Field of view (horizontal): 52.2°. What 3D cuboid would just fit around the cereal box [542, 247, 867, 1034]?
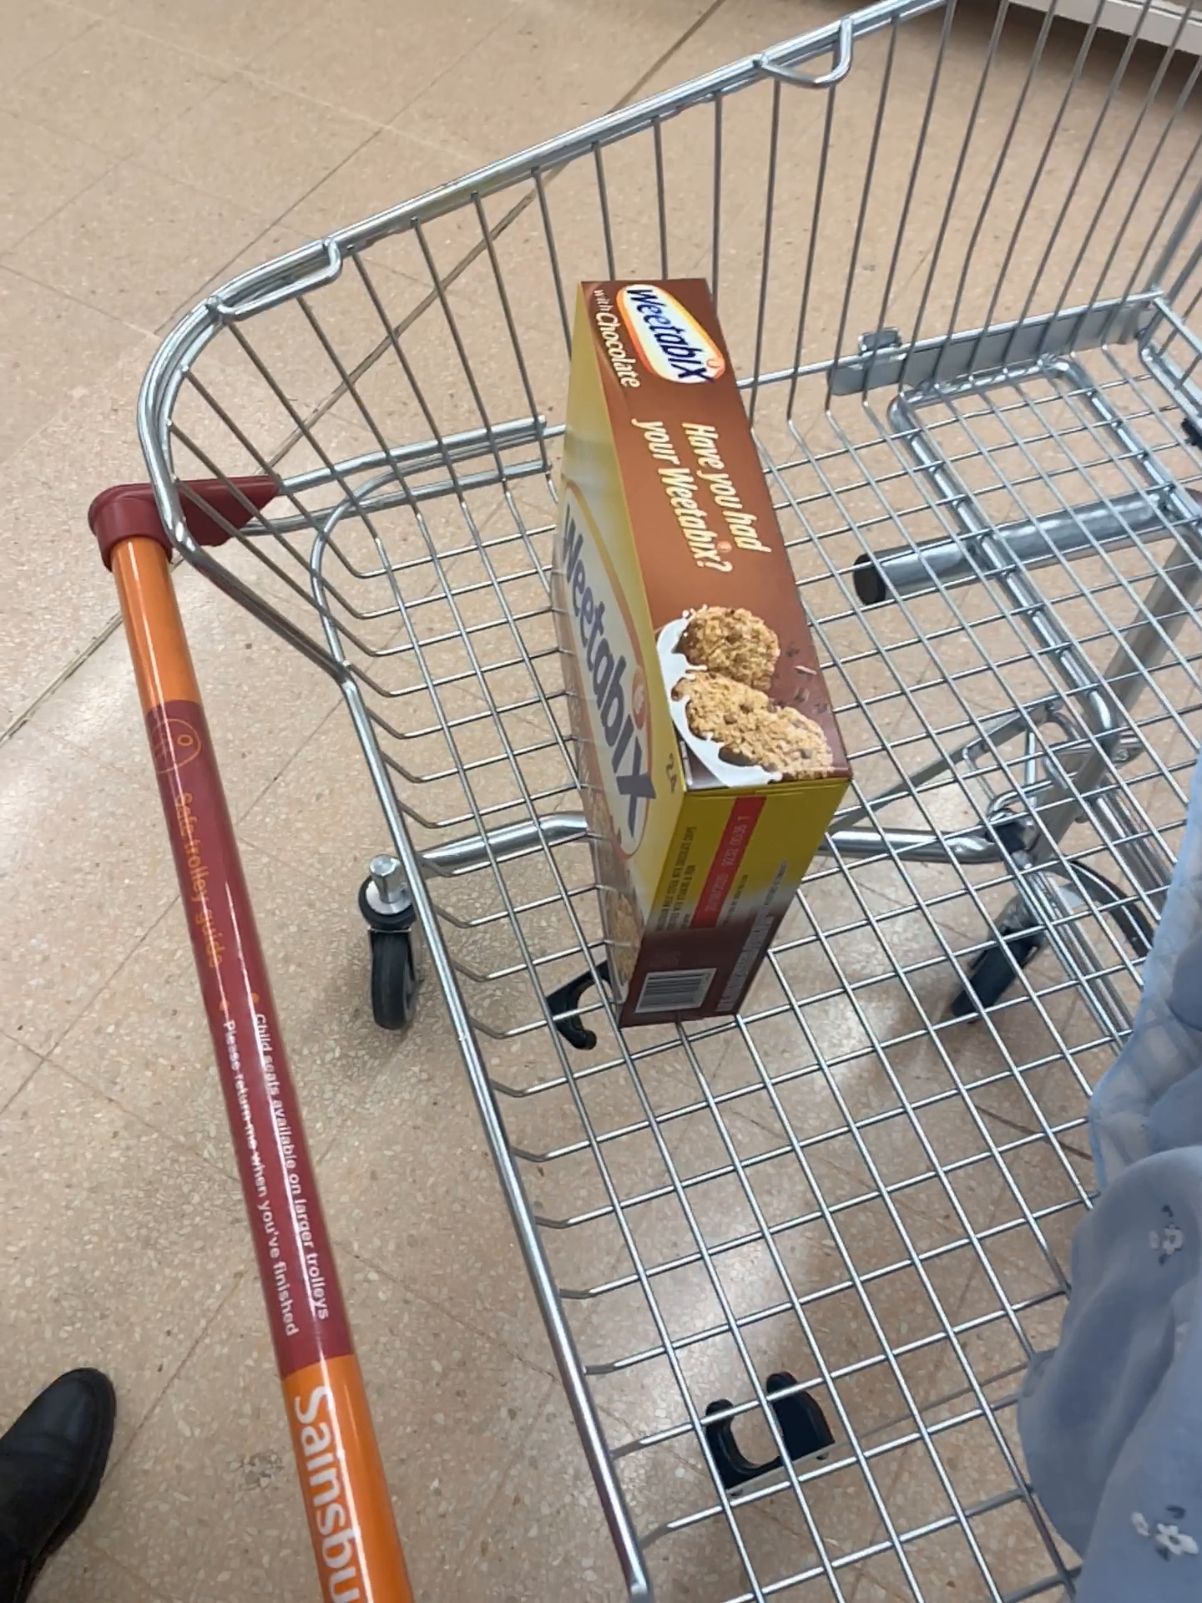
[{"bbox_3d":[0.023,-0.061,0.498,0.060,0.189,0.252,-5,60,-8],"label":"cereal box"}]
